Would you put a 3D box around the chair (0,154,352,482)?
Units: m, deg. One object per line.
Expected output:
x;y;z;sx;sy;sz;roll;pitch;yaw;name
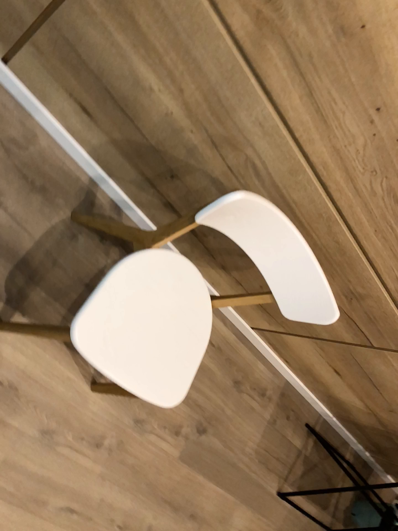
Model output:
-0.126;0.125;1.261;0.501;0.826;0.531;44;64;-32;chair
